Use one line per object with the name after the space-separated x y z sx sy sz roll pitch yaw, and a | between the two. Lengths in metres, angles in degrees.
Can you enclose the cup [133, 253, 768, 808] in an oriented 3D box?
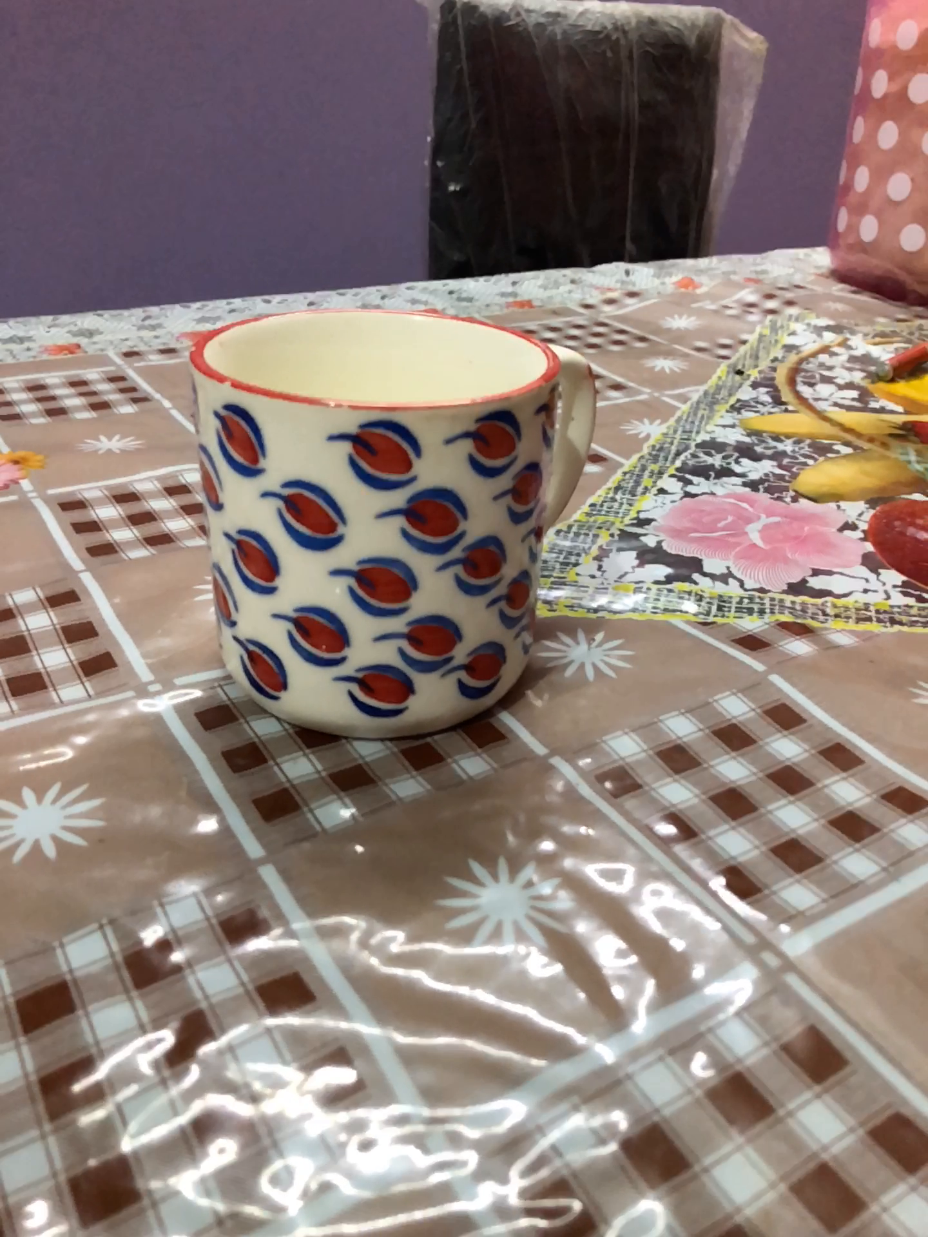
-0.001 -0.031 0.236 0.080 0.079 0.111 28 37 37 | cup
